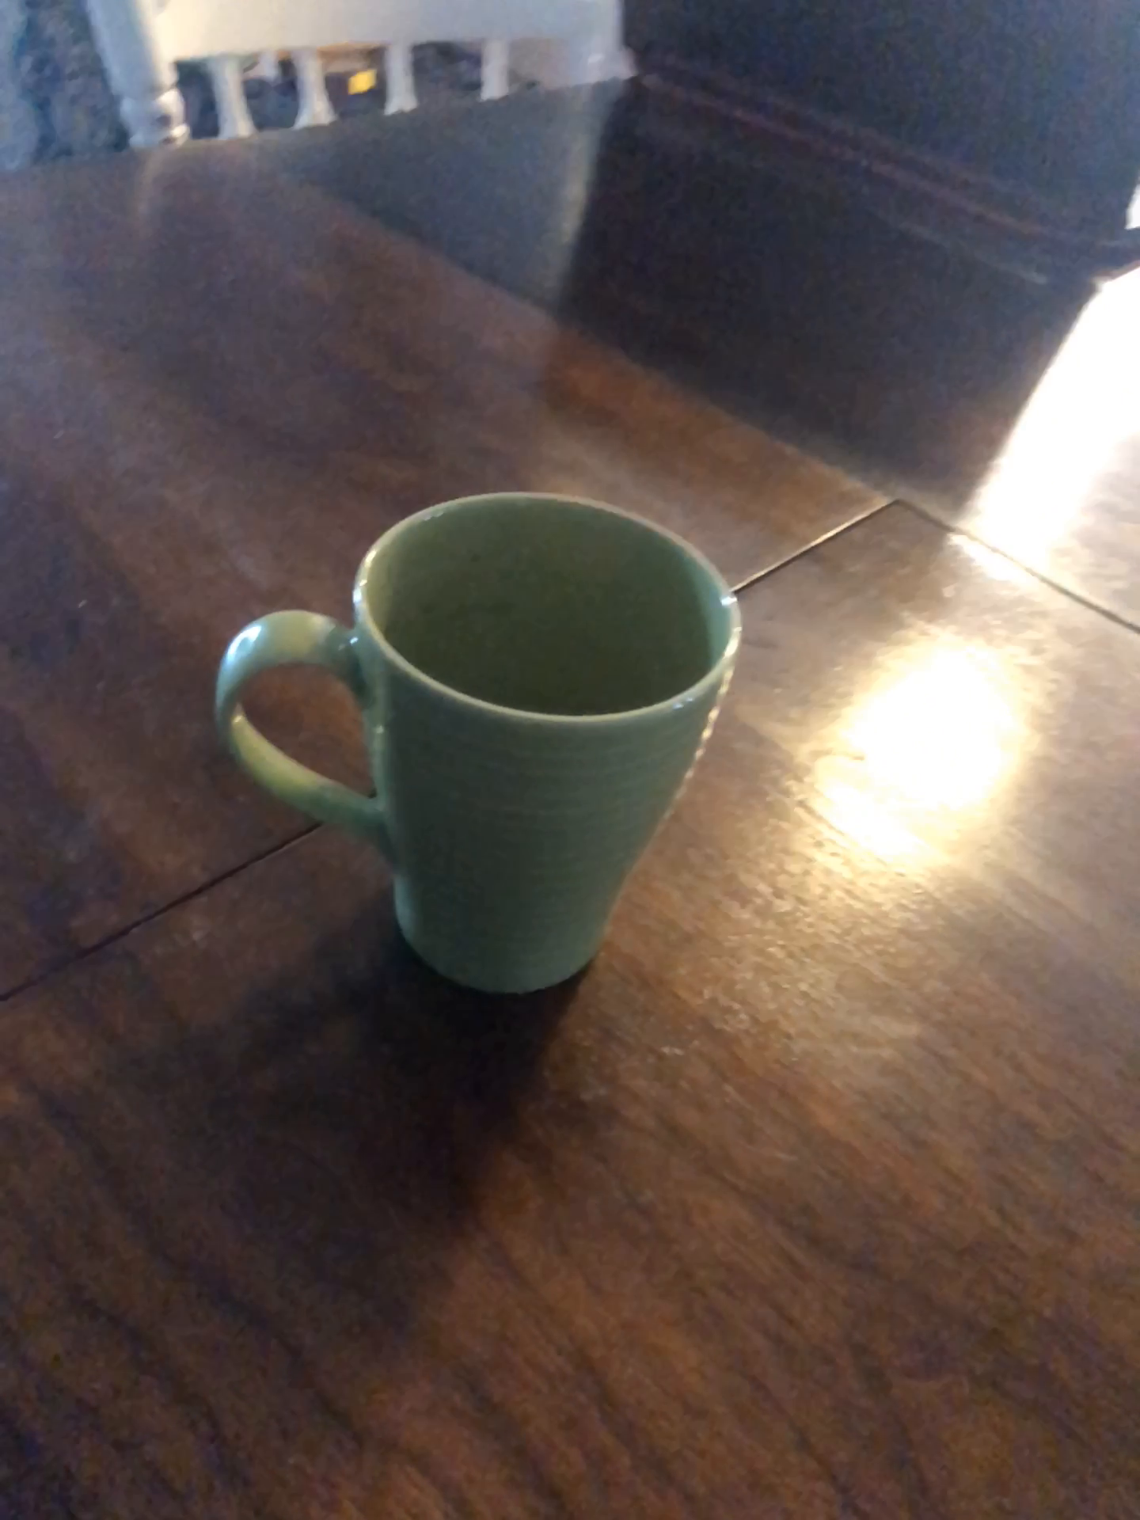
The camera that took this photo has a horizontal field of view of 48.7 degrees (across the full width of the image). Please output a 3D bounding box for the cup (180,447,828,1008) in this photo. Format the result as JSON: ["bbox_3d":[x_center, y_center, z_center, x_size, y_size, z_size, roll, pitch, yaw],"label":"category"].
[{"bbox_3d":[-0.020,-0.006,0.295,0.120,0.090,0.090,2,42,-9],"label":"cup"}]
